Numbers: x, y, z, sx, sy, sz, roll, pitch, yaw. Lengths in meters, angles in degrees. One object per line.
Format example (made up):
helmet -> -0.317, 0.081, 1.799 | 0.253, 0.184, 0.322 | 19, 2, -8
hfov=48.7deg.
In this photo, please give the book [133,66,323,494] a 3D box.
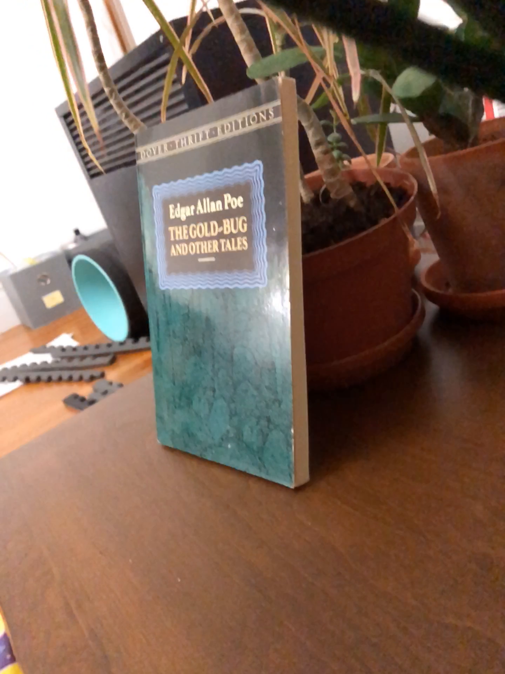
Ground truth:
book -> -0.021, -0.029, 0.333 | 0.020, 0.210, 0.140 | -7, 7, -42
